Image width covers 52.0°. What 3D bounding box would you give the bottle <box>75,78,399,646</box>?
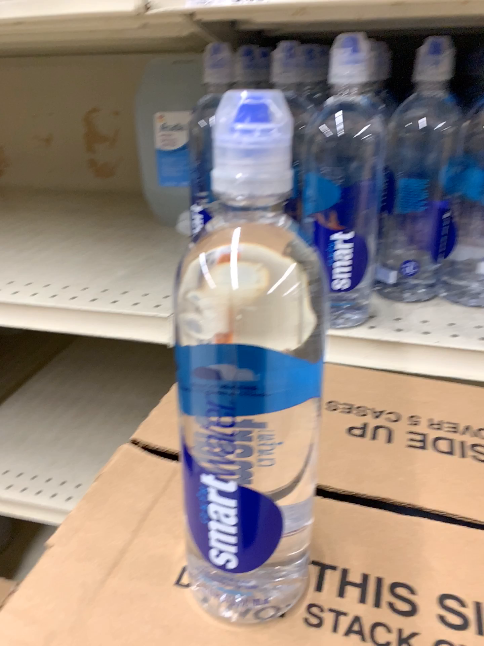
[{"bbox_3d":[0.008,0.024,0.237,0.090,0.249,0.090,-1,27,1],"label":"bottle"}]
